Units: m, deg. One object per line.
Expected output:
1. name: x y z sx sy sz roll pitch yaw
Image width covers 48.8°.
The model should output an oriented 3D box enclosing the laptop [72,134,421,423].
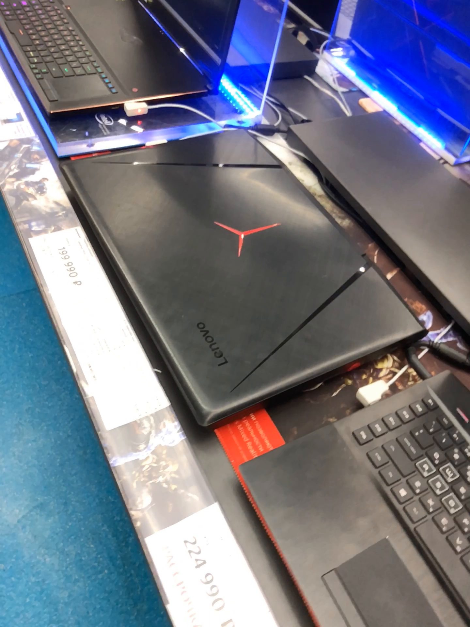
1. laptop: -0.001 -0.085 0.636 0.270 0.005 0.400 -19 57 -24
